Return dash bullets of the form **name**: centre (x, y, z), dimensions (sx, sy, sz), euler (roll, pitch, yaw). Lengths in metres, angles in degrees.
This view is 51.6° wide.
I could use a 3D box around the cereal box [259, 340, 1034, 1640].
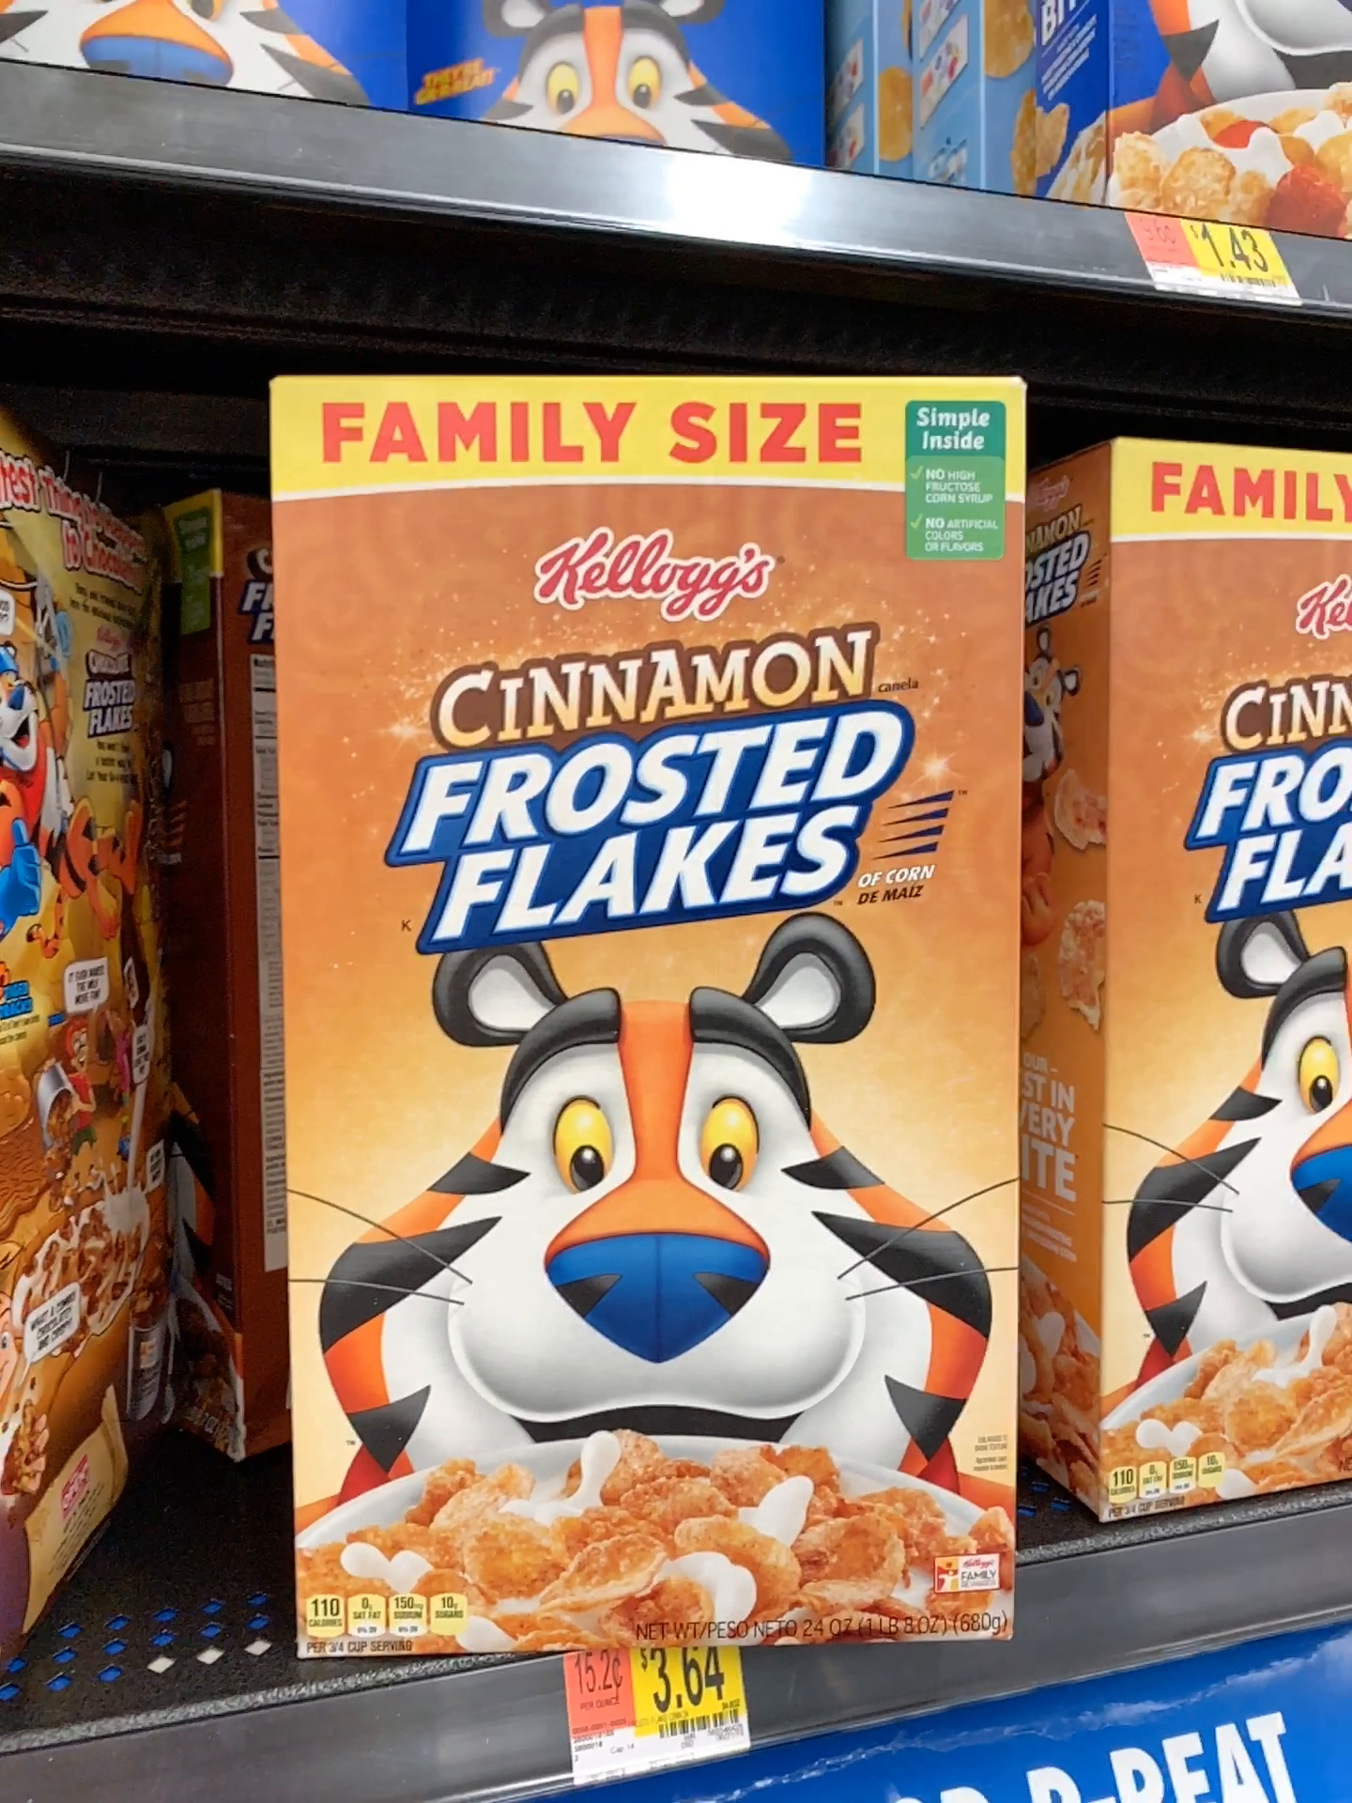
- **cereal box**: centre (-0.006, 0.024, 0.406), dimensions (0.200, 0.340, 0.080), euler (-1, 2, 0)
